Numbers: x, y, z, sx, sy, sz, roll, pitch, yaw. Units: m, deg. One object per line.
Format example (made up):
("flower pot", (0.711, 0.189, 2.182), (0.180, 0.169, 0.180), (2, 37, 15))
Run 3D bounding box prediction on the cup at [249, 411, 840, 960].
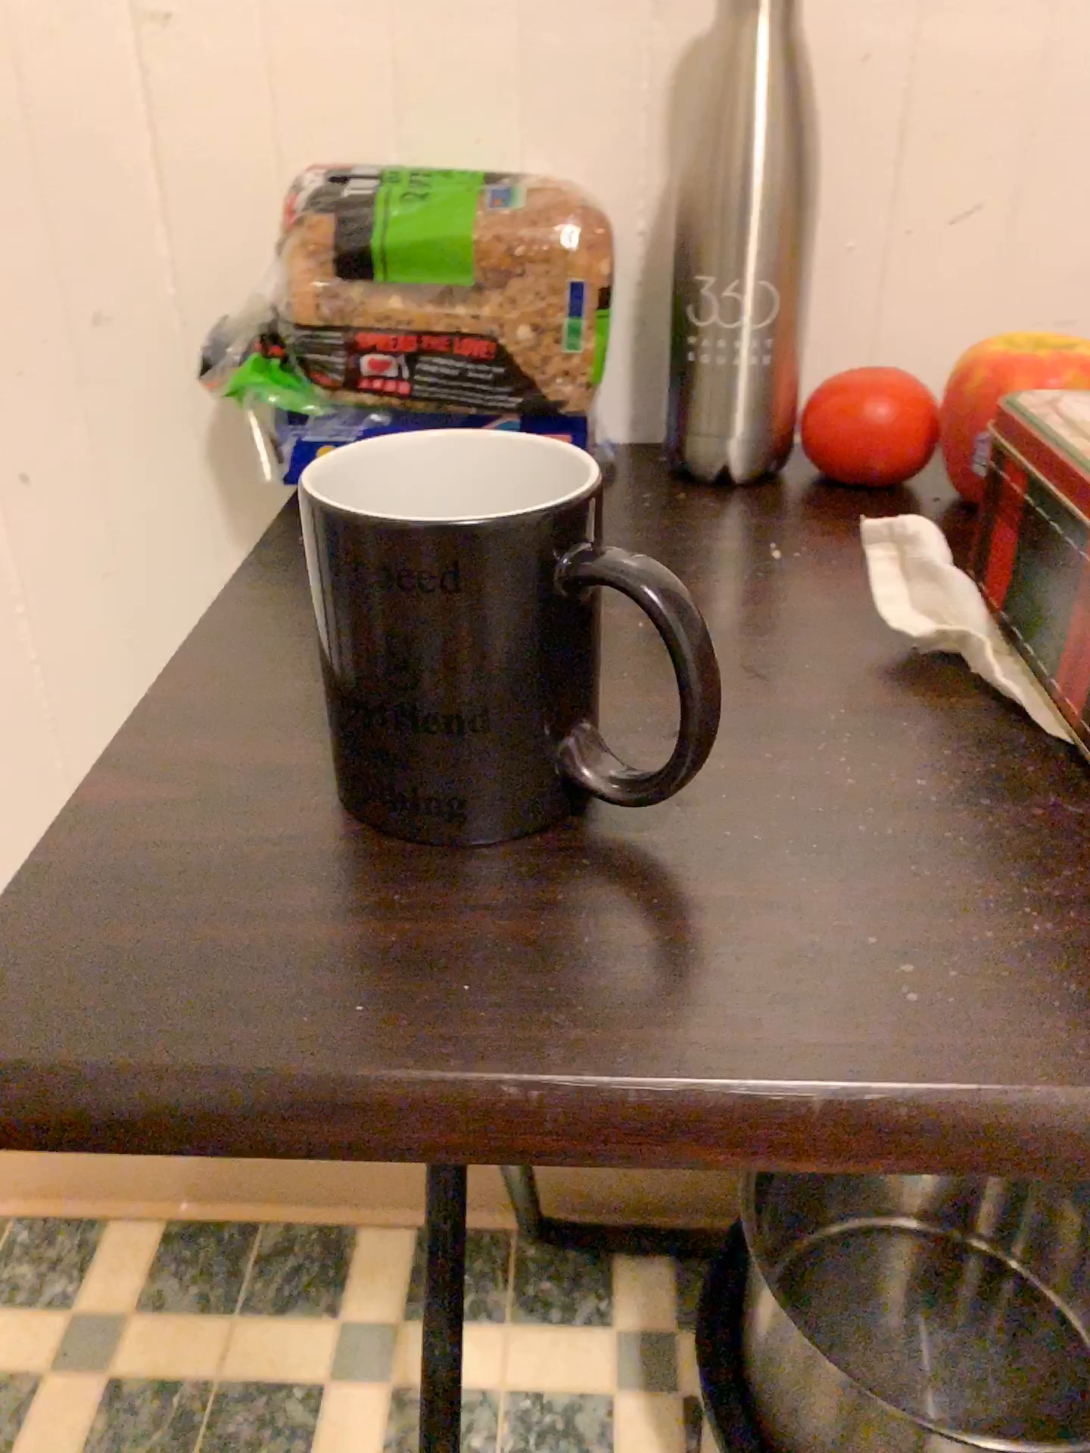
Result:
("cup", (-0.001, -0.020, 0.316), (0.130, 0.099, 0.080), (18, 35, 29))
